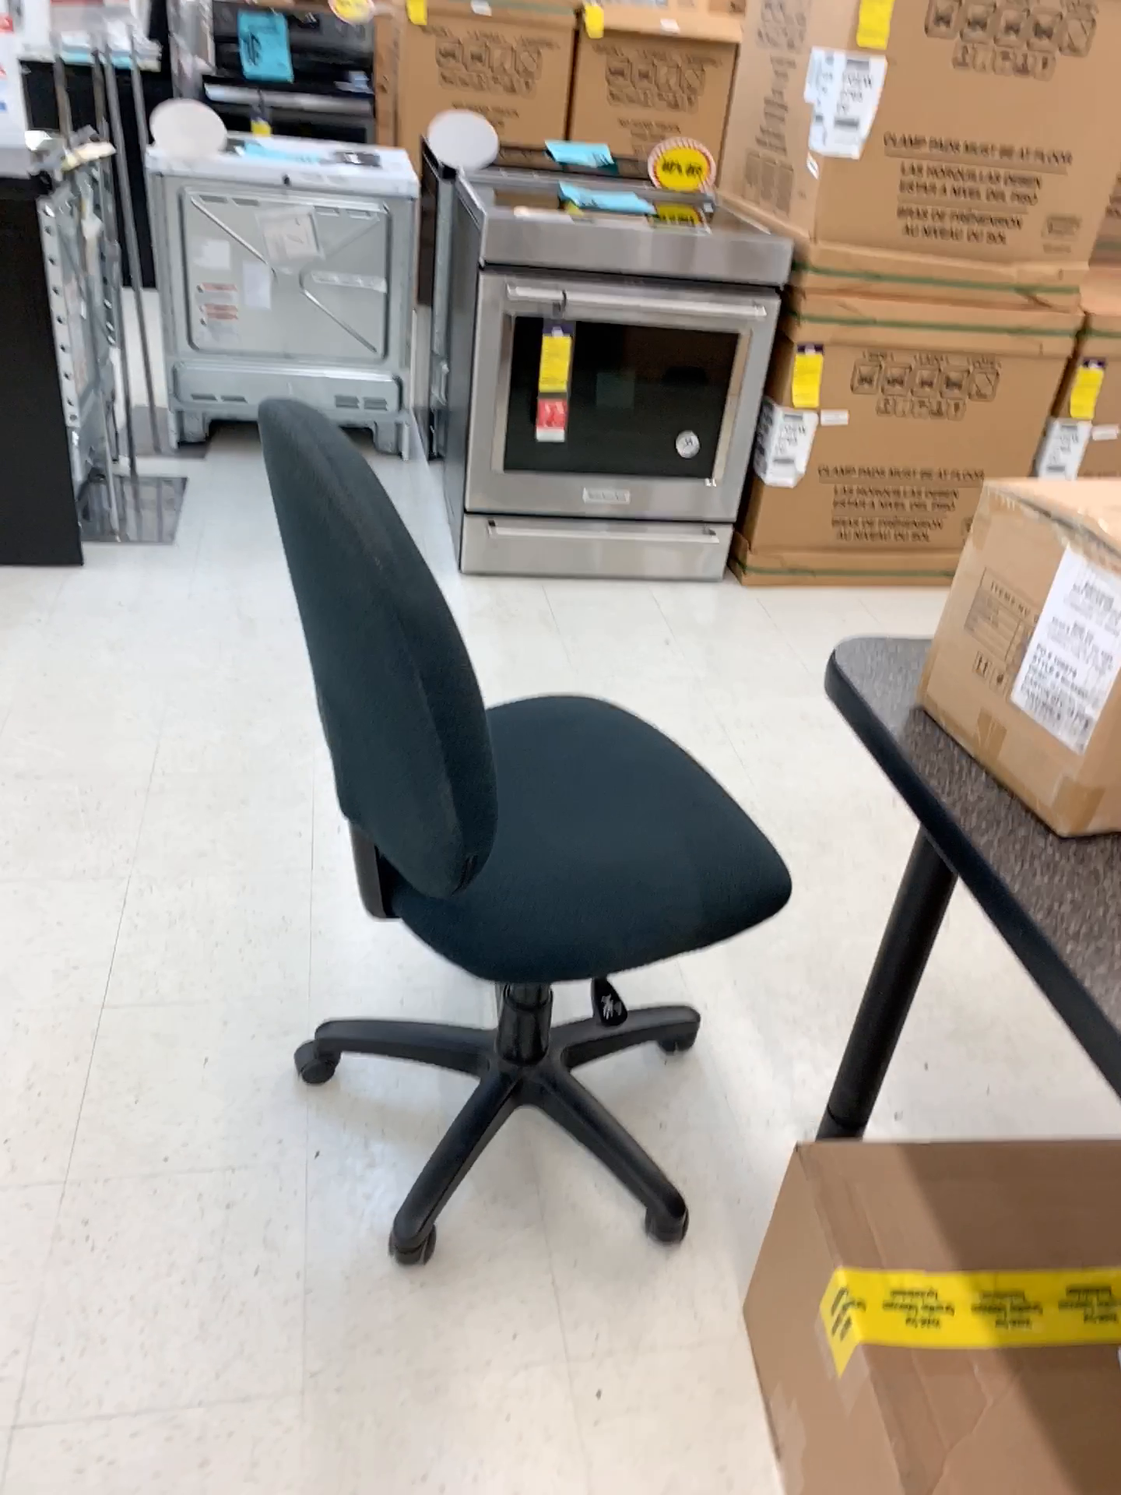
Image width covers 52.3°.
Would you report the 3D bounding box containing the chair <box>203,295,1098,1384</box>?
[{"bbox_3d":[0.000,0.063,1.306,0.601,0.965,0.602,-11,37,-26],"label":"chair"}]
